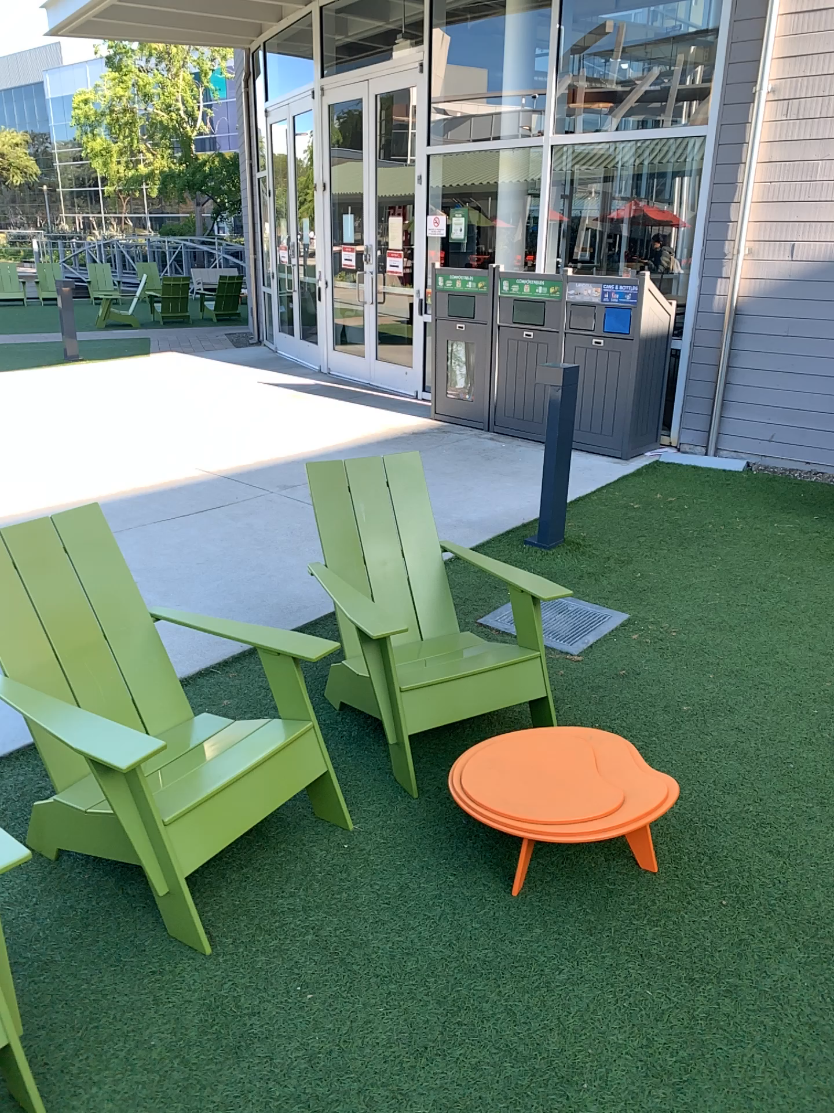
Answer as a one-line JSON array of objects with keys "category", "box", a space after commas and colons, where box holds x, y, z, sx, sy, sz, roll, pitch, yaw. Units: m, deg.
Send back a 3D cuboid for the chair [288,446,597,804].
[{"category": "chair", "box": [0.036, 0.161, 2.929, 0.710, 0.856, 0.854, -8, 22, -24]}]
